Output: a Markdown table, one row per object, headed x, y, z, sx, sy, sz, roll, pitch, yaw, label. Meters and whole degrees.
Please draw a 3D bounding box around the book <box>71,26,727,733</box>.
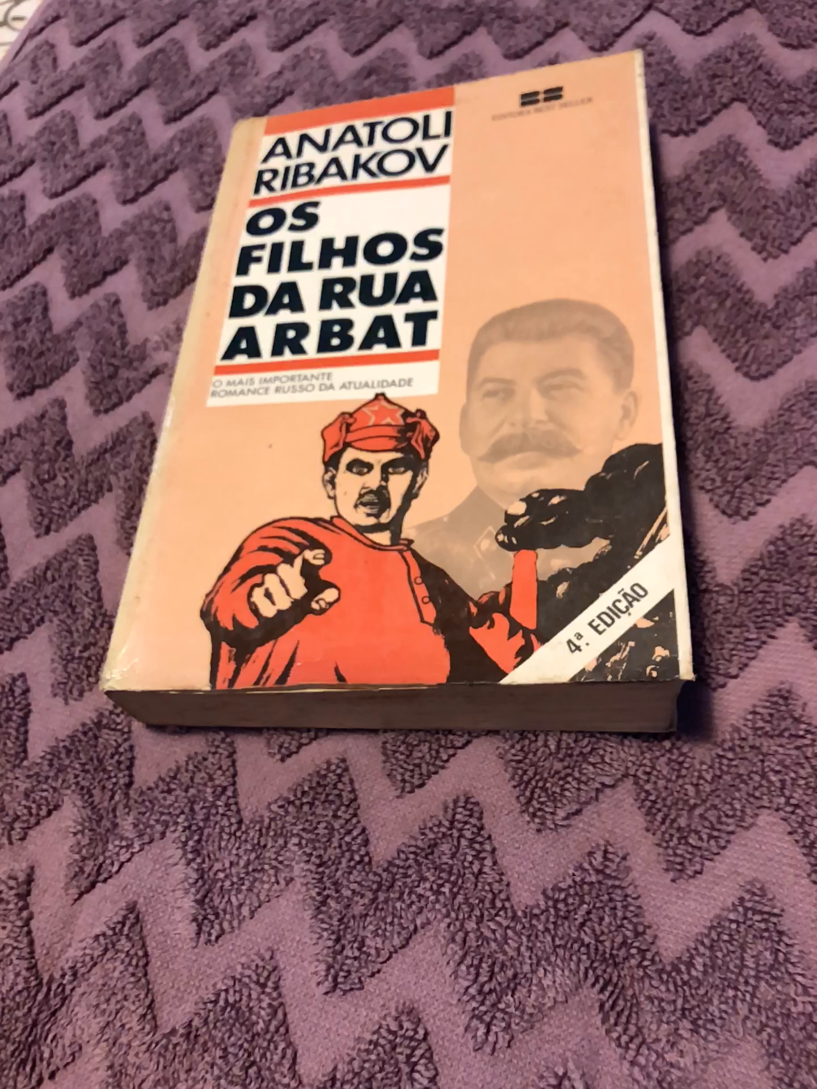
| x | y | z | sx | sy | sz | roll | pitch | yaw | label |
| --- | --- | --- | --- | --- | --- | --- | --- | --- | --- |
| 0.002 | -0.048 | 0.250 | 0.140 | 0.040 | 0.191 | -3 | 64 | 12 | book |
